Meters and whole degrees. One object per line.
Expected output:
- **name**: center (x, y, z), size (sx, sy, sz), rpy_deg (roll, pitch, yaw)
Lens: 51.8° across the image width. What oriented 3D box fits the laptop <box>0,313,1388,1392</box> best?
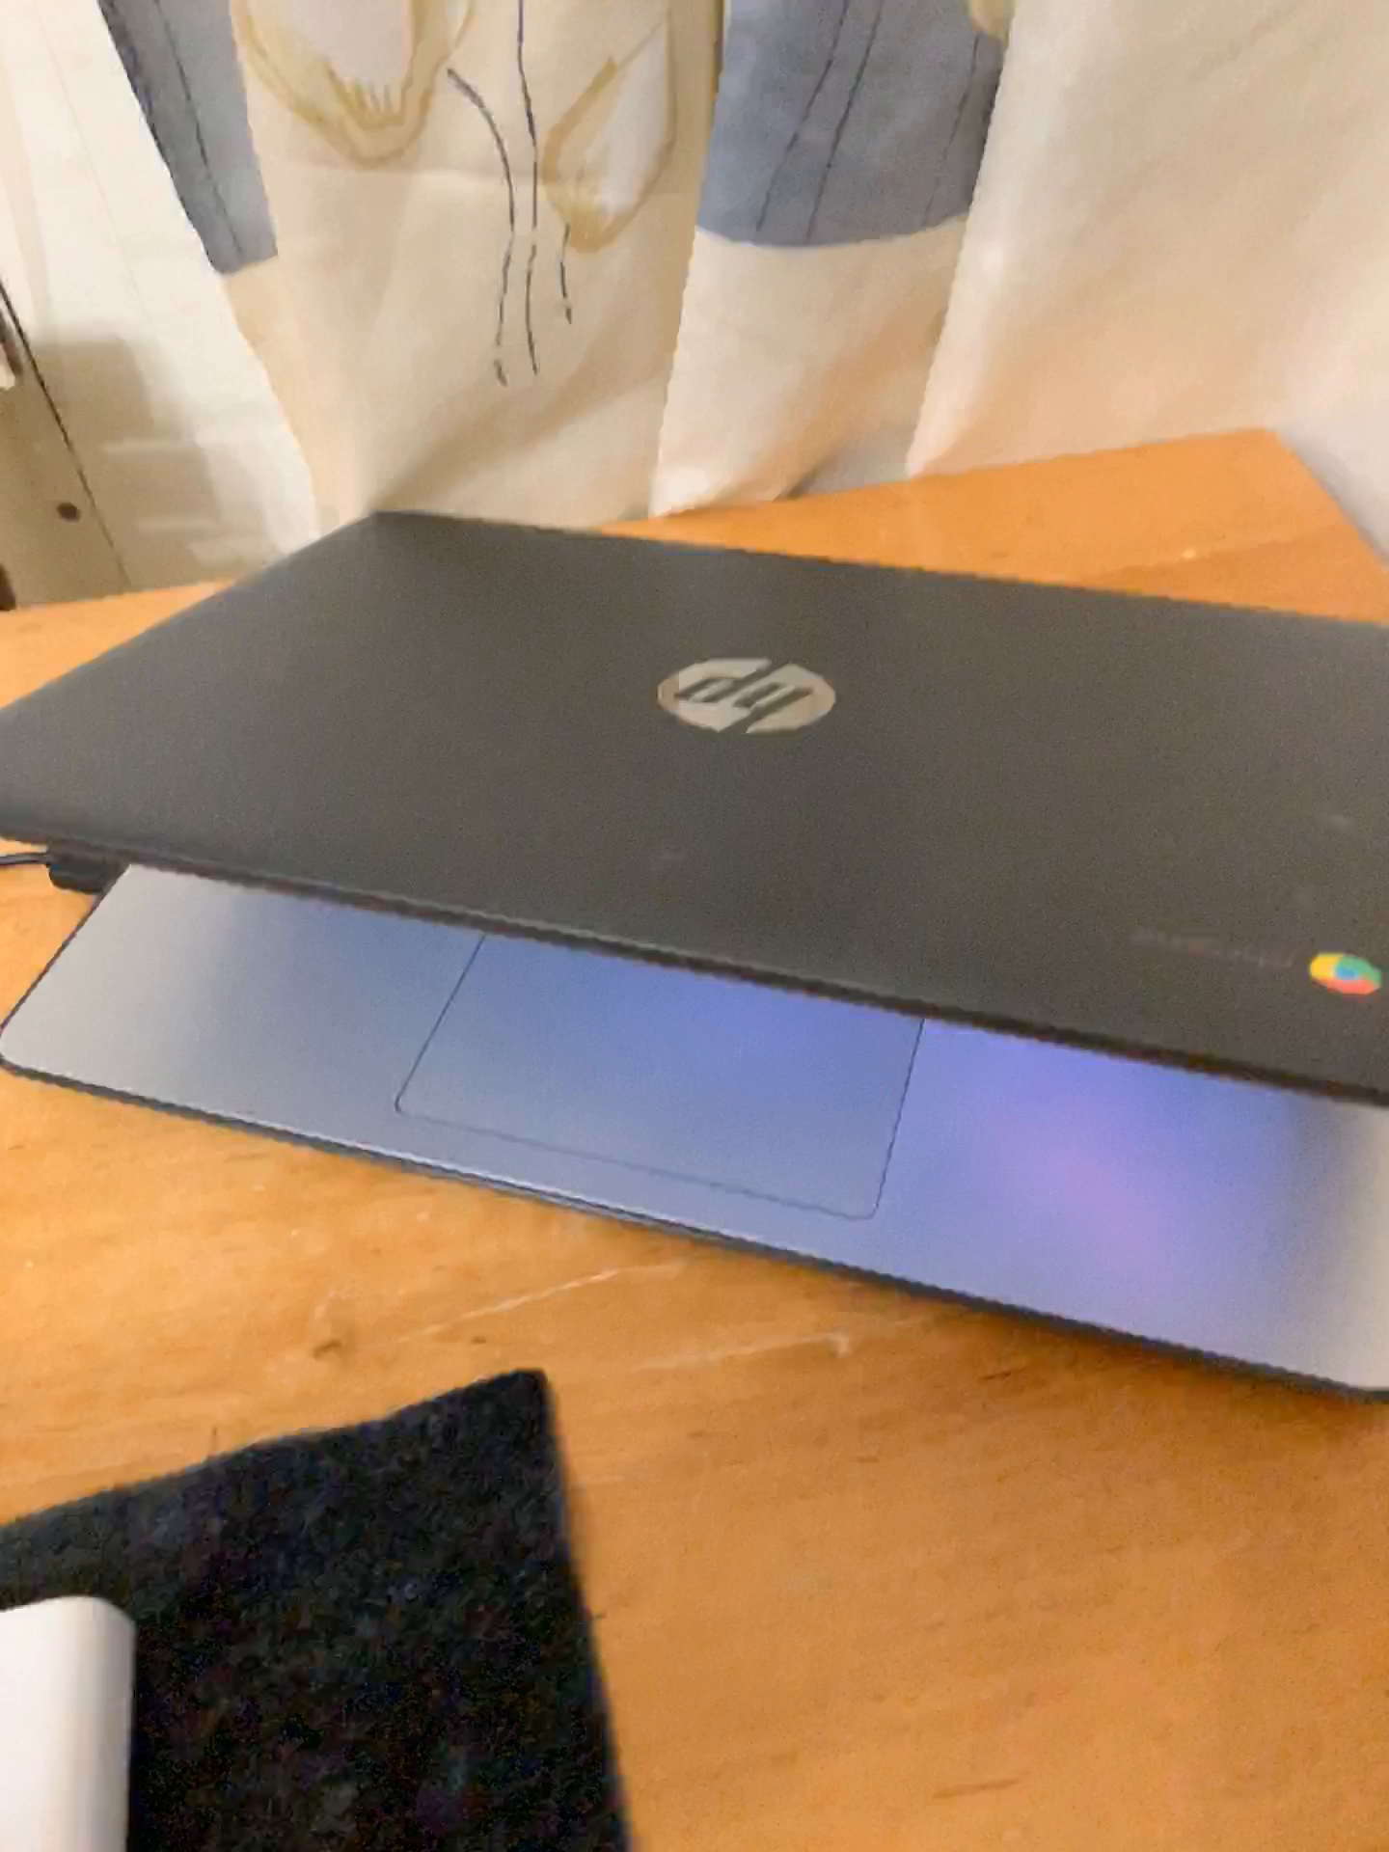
- **laptop**: center (0.012, -0.041, 0.298), size (0.268, 0.066, 0.191), rpy_deg (11, 50, 14)
